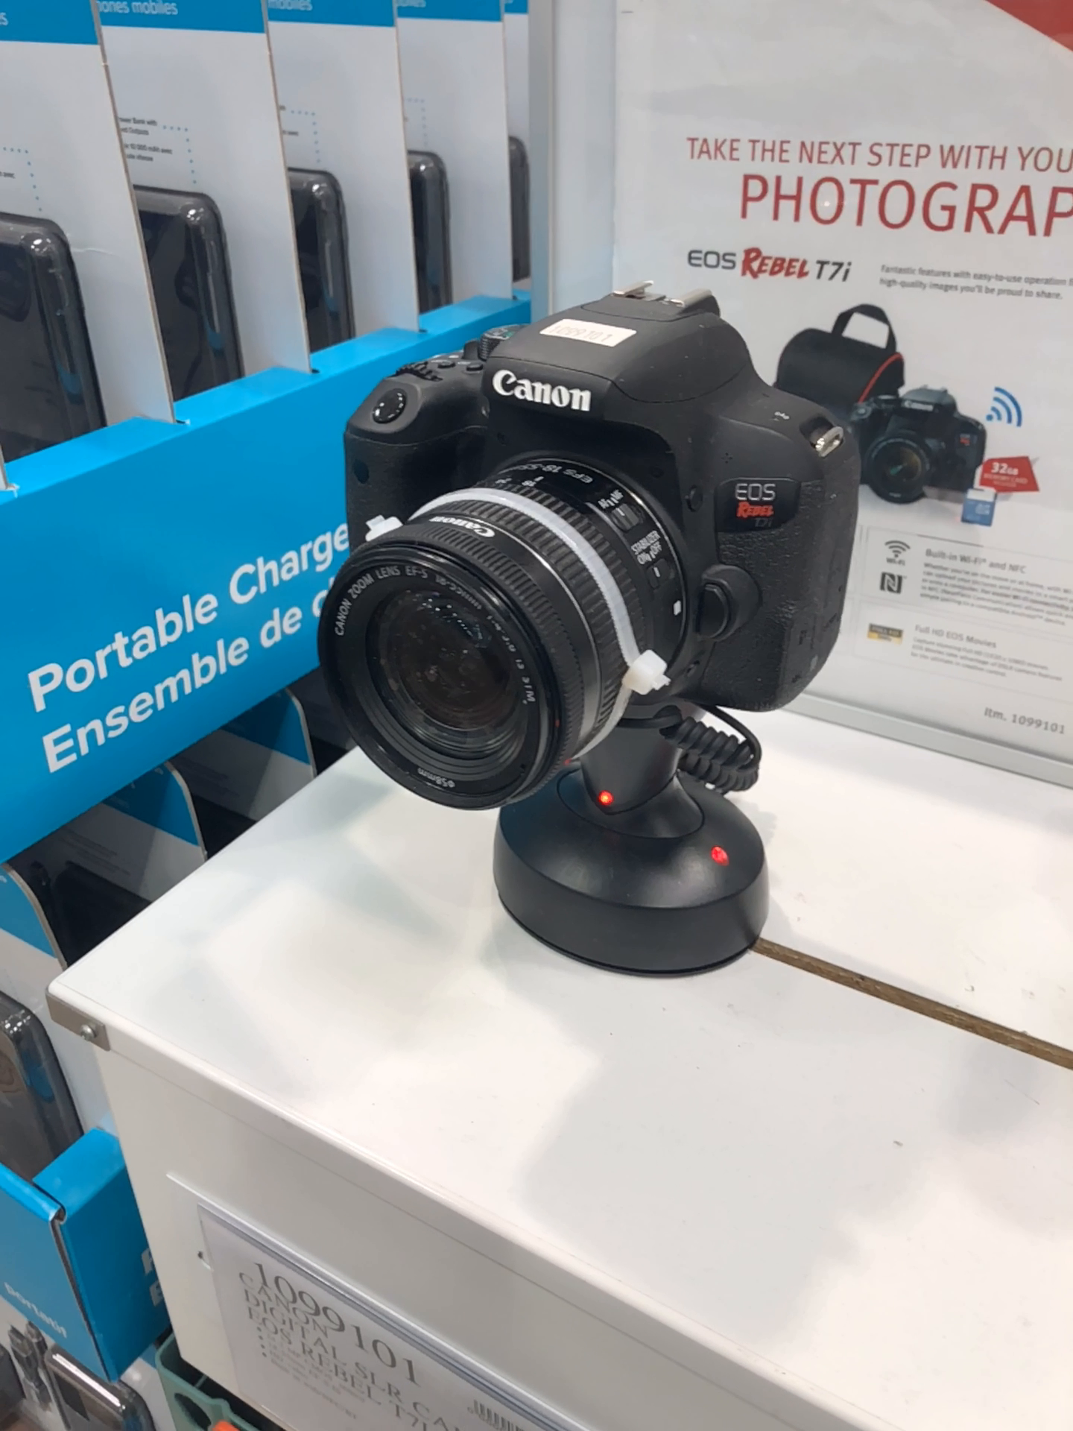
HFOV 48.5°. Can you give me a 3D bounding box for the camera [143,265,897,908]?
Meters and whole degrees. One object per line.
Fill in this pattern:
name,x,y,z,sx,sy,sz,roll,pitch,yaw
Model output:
camera,0.005,-0.051,0.323,0.130,0.100,0.150,16,35,25
